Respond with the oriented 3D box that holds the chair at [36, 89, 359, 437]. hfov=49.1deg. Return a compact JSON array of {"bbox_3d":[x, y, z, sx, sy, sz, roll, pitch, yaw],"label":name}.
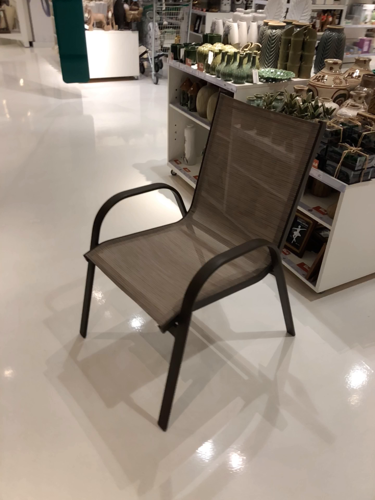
[{"bbox_3d":[0.018,-0.026,1.391,0.703,0.793,0.602,-24,41,-34],"label":"chair"}]
